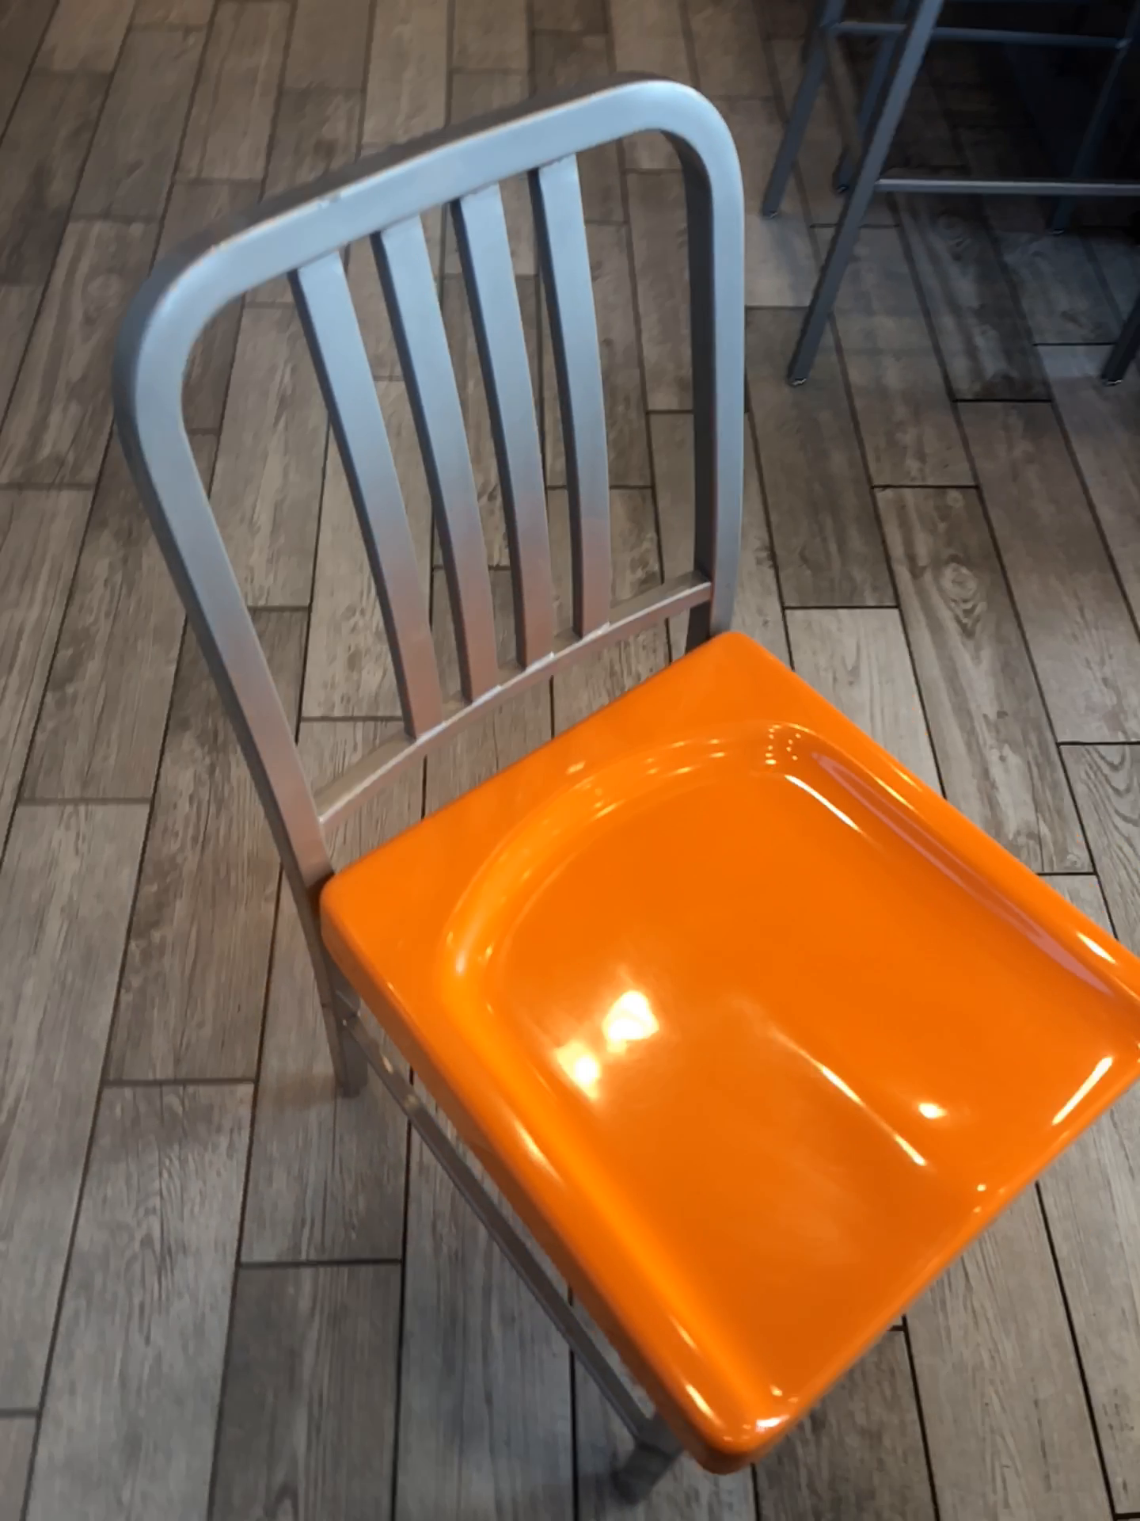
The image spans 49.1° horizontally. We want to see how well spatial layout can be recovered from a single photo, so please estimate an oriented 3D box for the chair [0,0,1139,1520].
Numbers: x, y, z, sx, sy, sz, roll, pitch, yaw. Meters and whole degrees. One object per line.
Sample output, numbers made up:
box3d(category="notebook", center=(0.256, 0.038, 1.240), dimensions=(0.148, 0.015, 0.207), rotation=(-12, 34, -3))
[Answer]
box3d(category="chair", center=(0.100, 0.094, 0.775), dimensions=(0.470, 0.818, 0.511), rotation=(-32, 63, -22))
